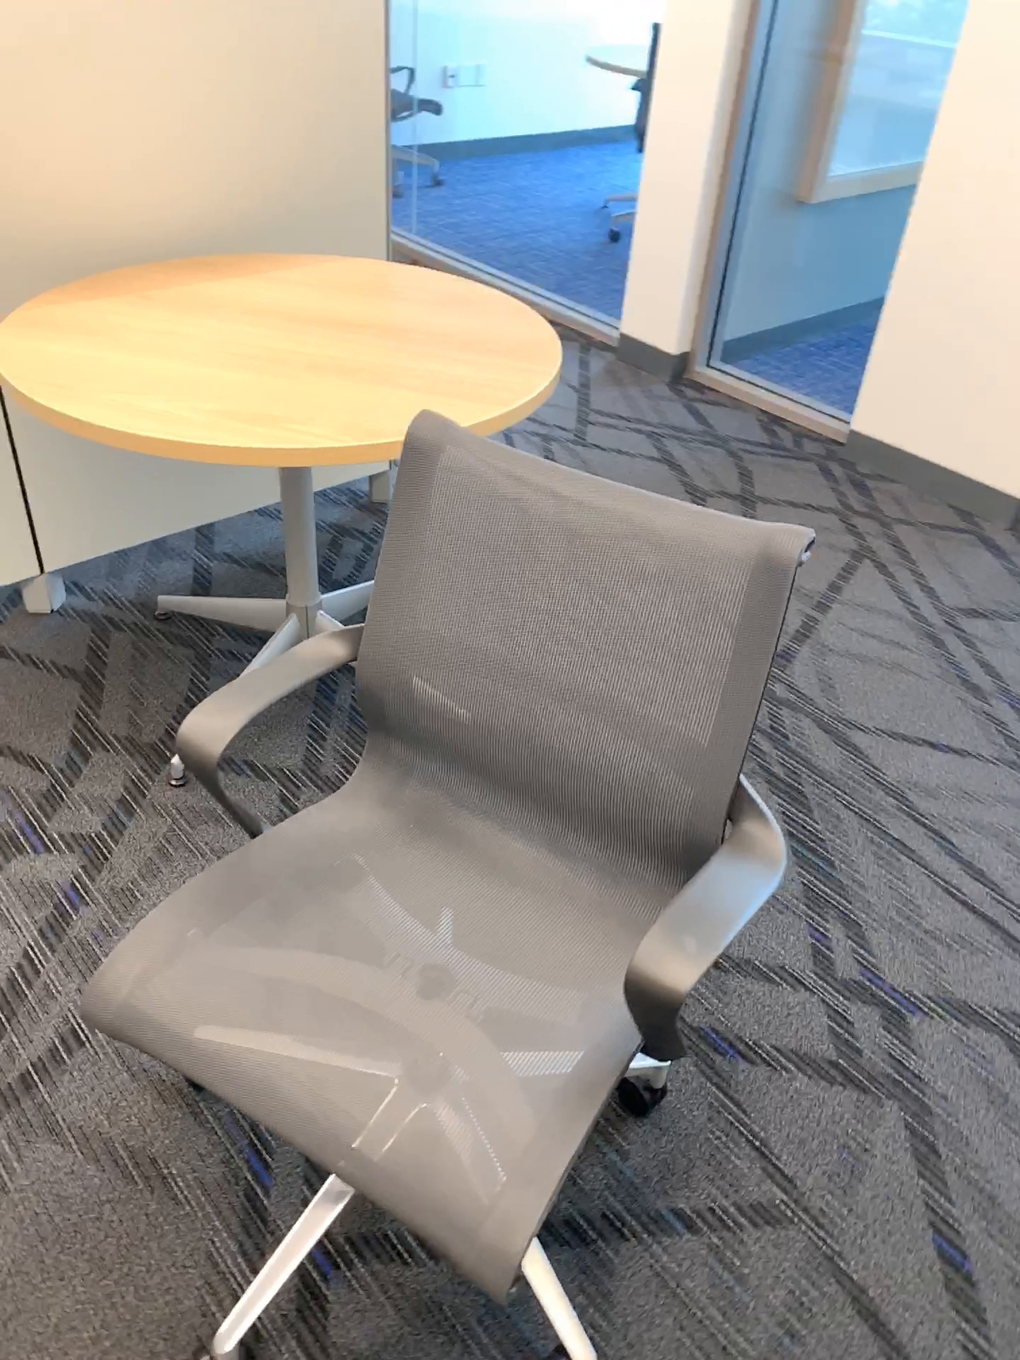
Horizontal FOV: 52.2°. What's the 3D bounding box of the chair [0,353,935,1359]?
[{"bbox_3d":[-0.121,0.232,0.992,0.681,0.753,0.705,21,39,21],"label":"chair"}]
